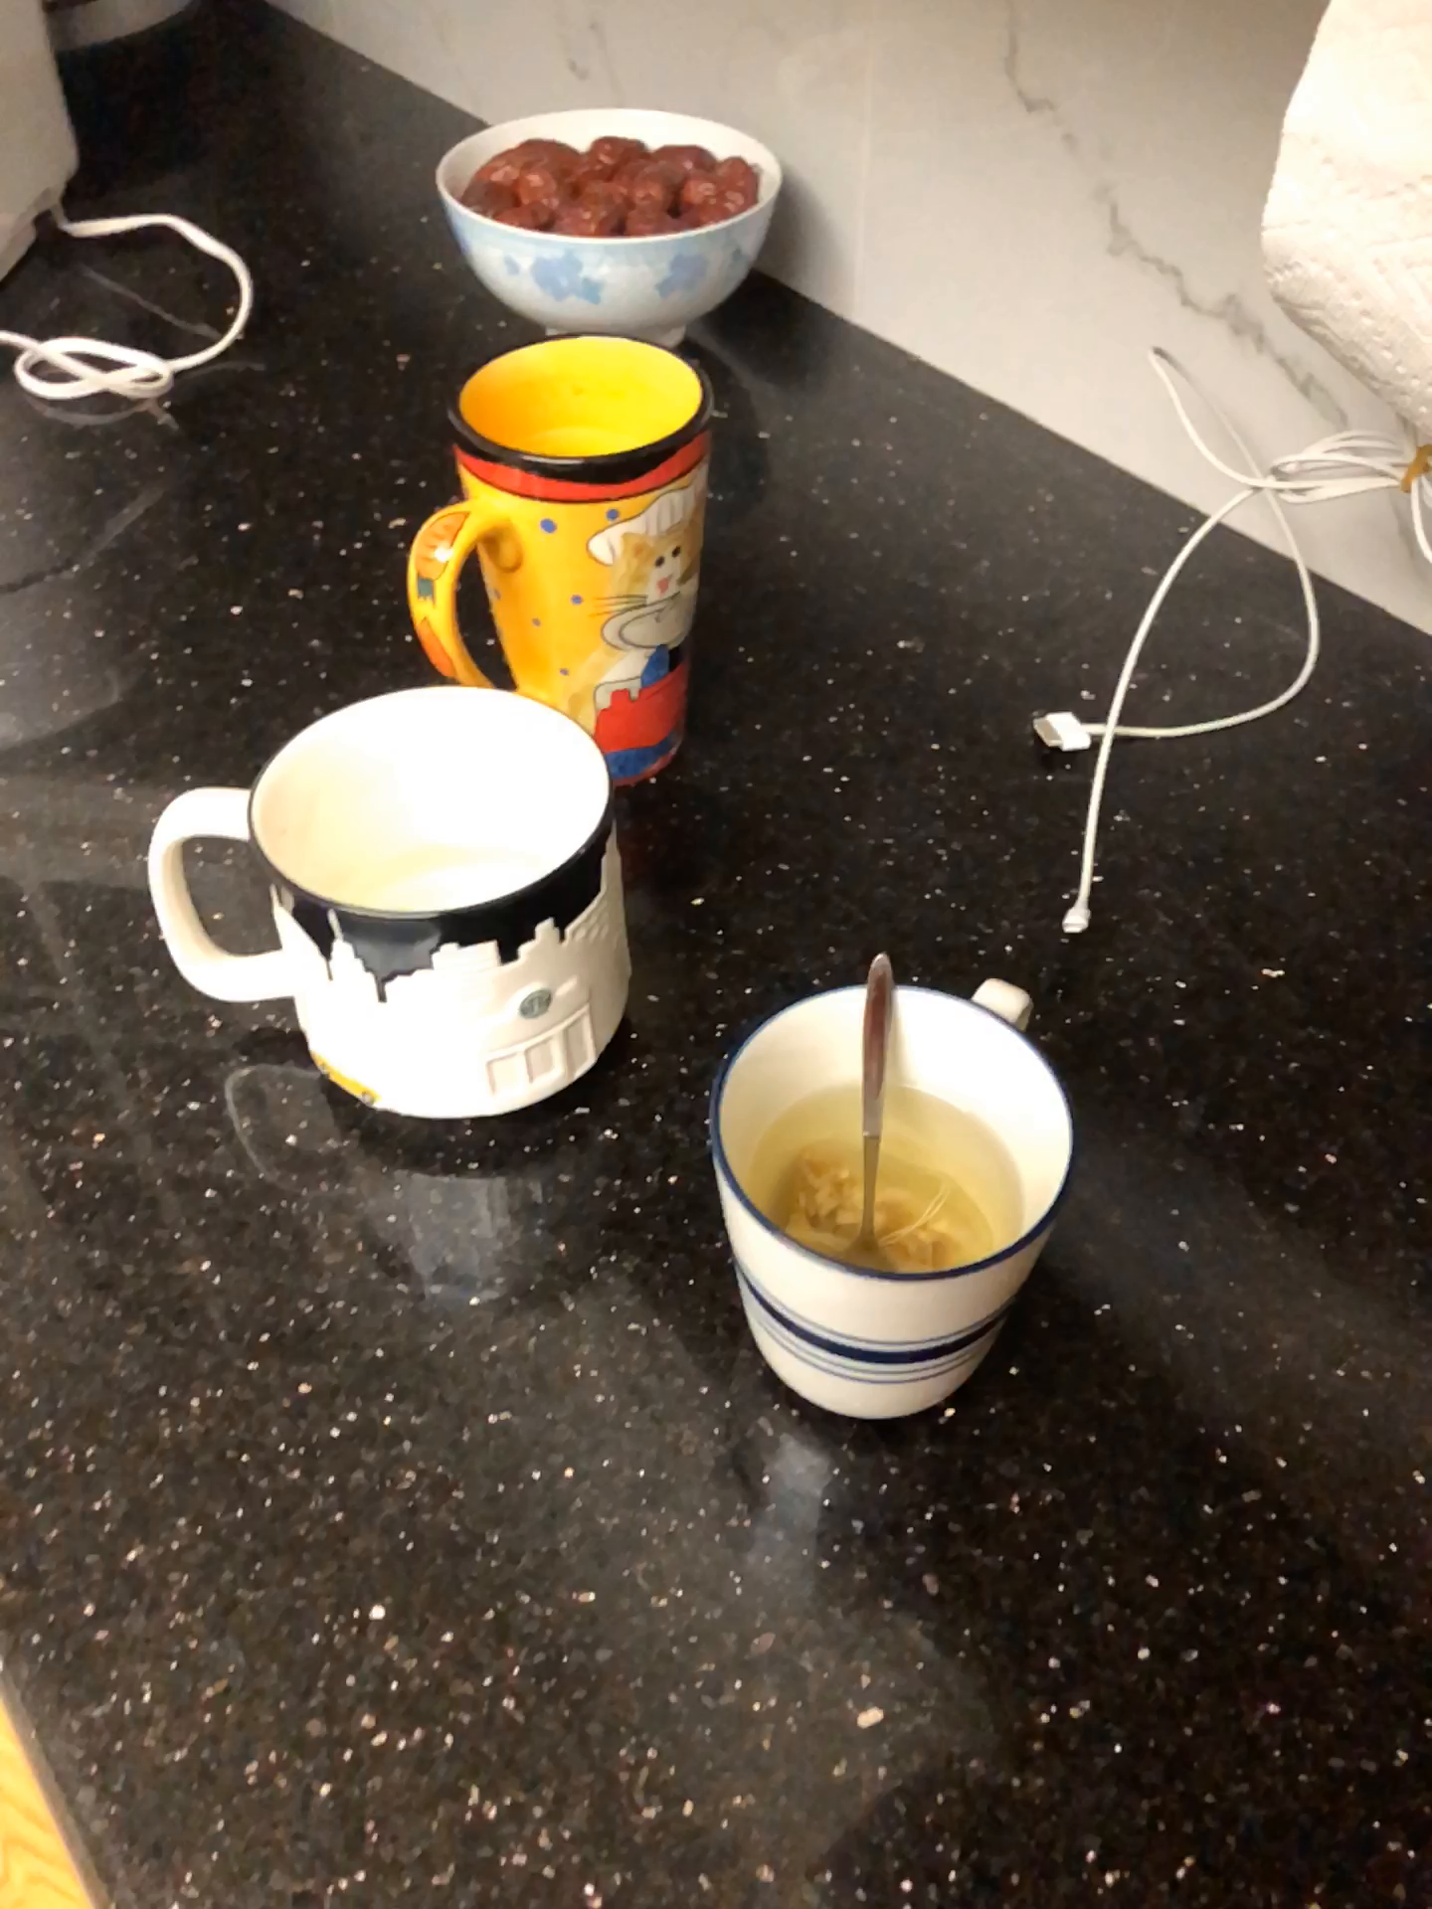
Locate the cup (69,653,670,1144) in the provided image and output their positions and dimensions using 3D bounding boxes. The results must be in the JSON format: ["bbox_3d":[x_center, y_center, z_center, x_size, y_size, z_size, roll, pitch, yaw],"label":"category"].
[{"bbox_3d":[-0.093,-0.019,0.473,0.140,0.080,0.111,6,46,6],"label":"cup"}]

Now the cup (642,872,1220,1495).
[{"bbox_3d":[0.055,0.052,0.402,0.090,0.060,0.120,28,52,24],"label":"cup"}]

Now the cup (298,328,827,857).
[{"bbox_3d":[-0.047,-0.132,0.557,0.100,0.100,0.150,29,53,25],"label":"cup"}]
